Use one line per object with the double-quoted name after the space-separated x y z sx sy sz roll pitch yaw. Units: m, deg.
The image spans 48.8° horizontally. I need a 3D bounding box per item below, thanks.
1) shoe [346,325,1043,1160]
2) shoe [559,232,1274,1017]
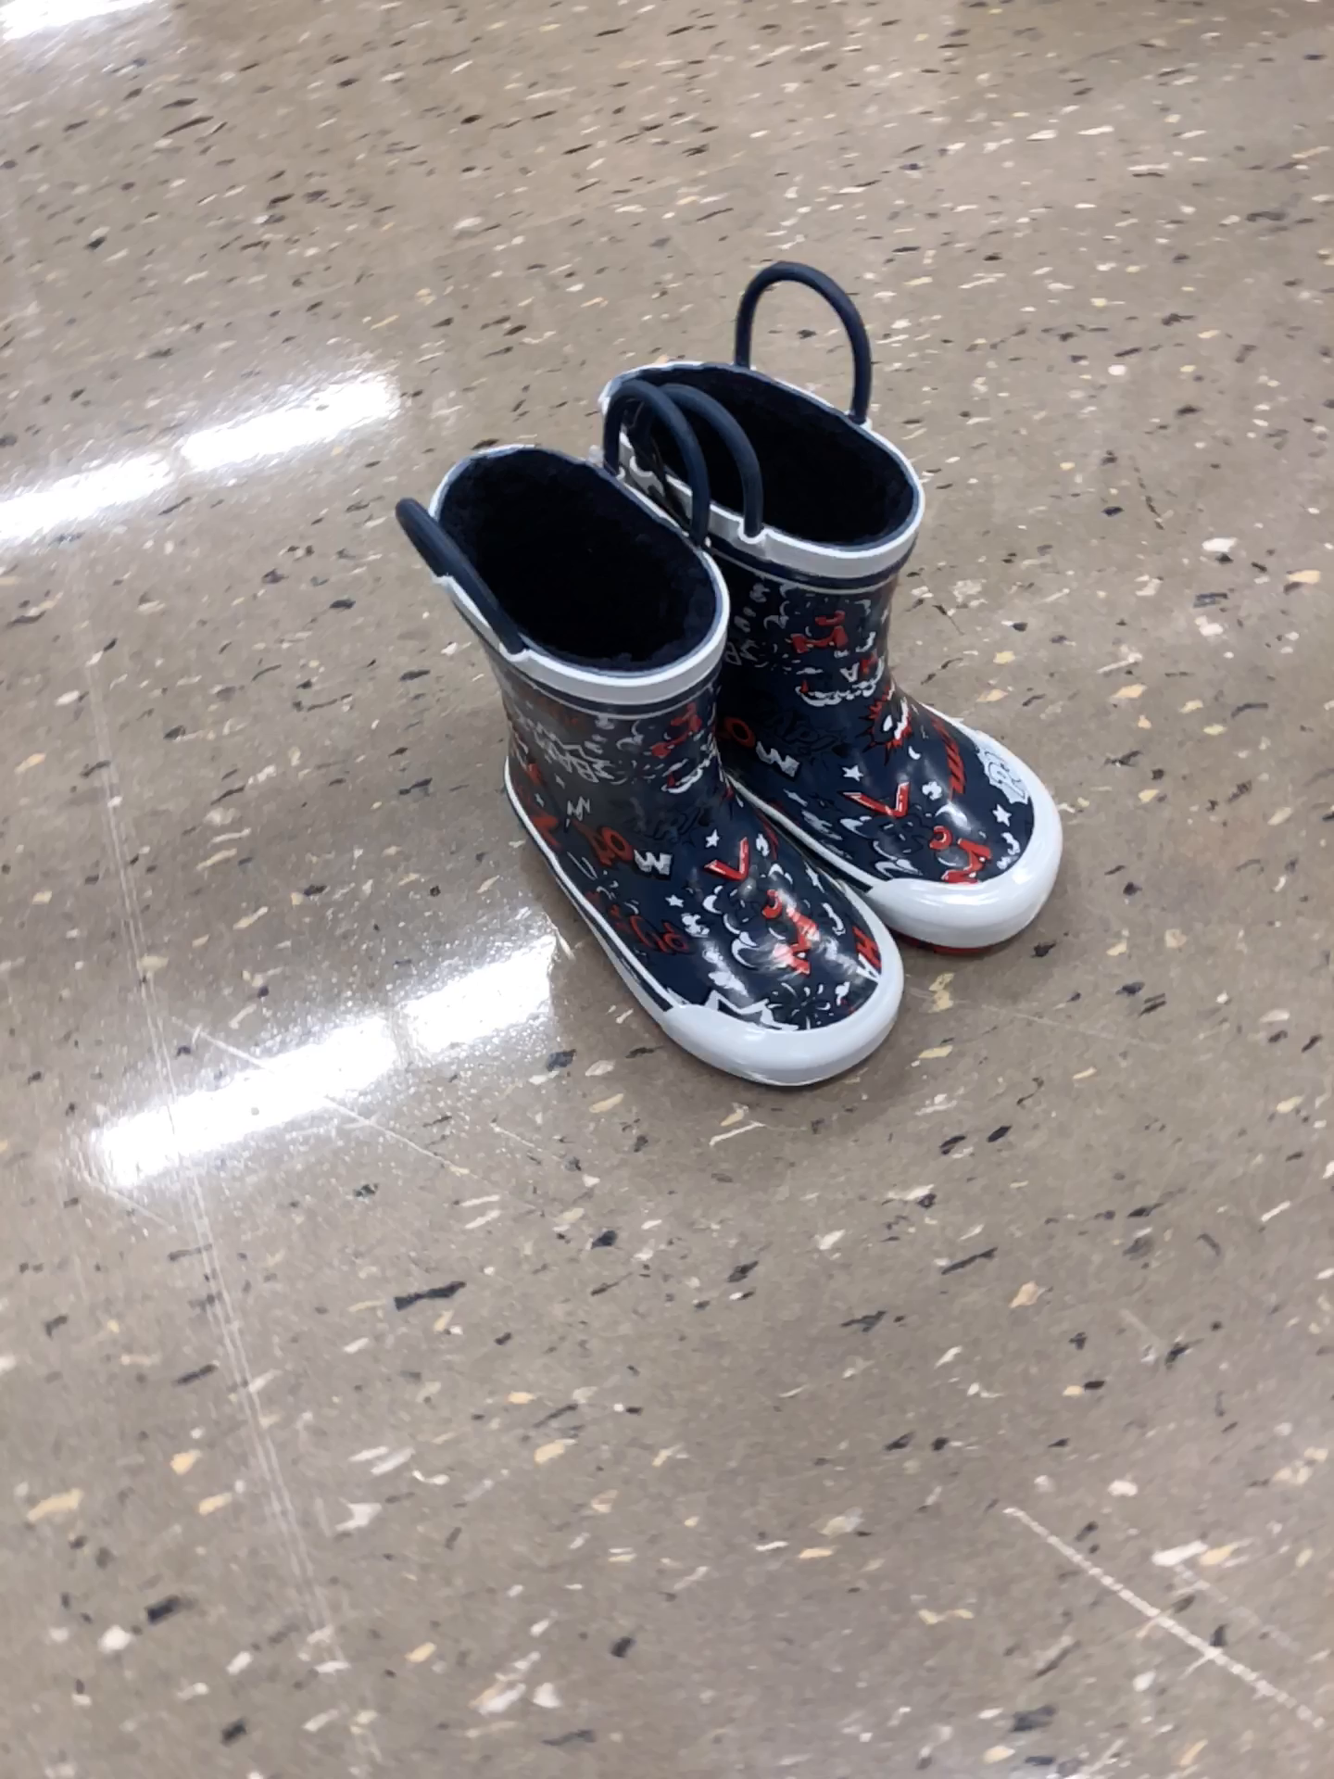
0.005 -0.036 0.415 0.080 0.160 0.160 -36 63 -18 "shoe"
0.061 -0.069 0.420 0.150 0.160 0.080 33 65 21 "shoe"
